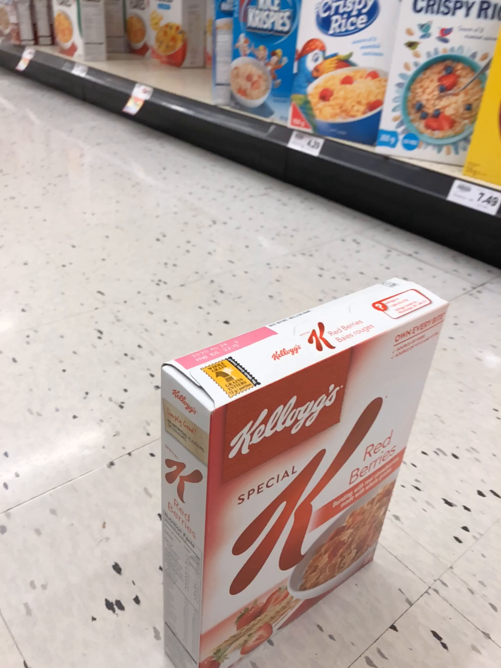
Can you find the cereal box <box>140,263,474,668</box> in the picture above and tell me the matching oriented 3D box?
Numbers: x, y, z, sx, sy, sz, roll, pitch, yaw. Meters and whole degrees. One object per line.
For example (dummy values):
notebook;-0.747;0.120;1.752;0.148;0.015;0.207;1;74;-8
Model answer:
cereal box;0.036;0.102;0.387;0.211;0.258;0.060;-20;39;-34
